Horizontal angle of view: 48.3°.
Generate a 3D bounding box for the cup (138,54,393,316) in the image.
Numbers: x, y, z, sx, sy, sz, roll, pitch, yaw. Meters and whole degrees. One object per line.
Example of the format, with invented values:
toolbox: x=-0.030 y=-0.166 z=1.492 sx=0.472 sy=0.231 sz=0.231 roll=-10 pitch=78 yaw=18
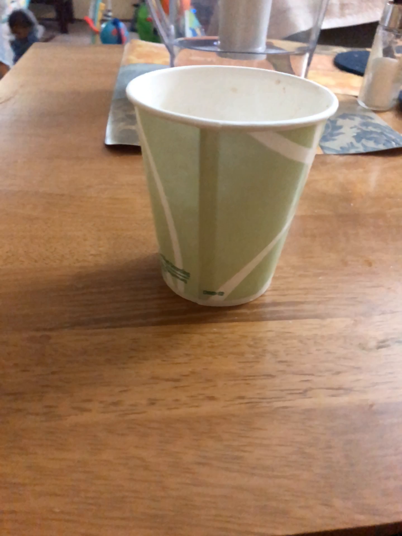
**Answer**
cup: x=0.017 y=-0.046 z=0.223 sx=0.090 sy=0.090 sz=0.100 roll=-3 pitch=37 yaw=-7
